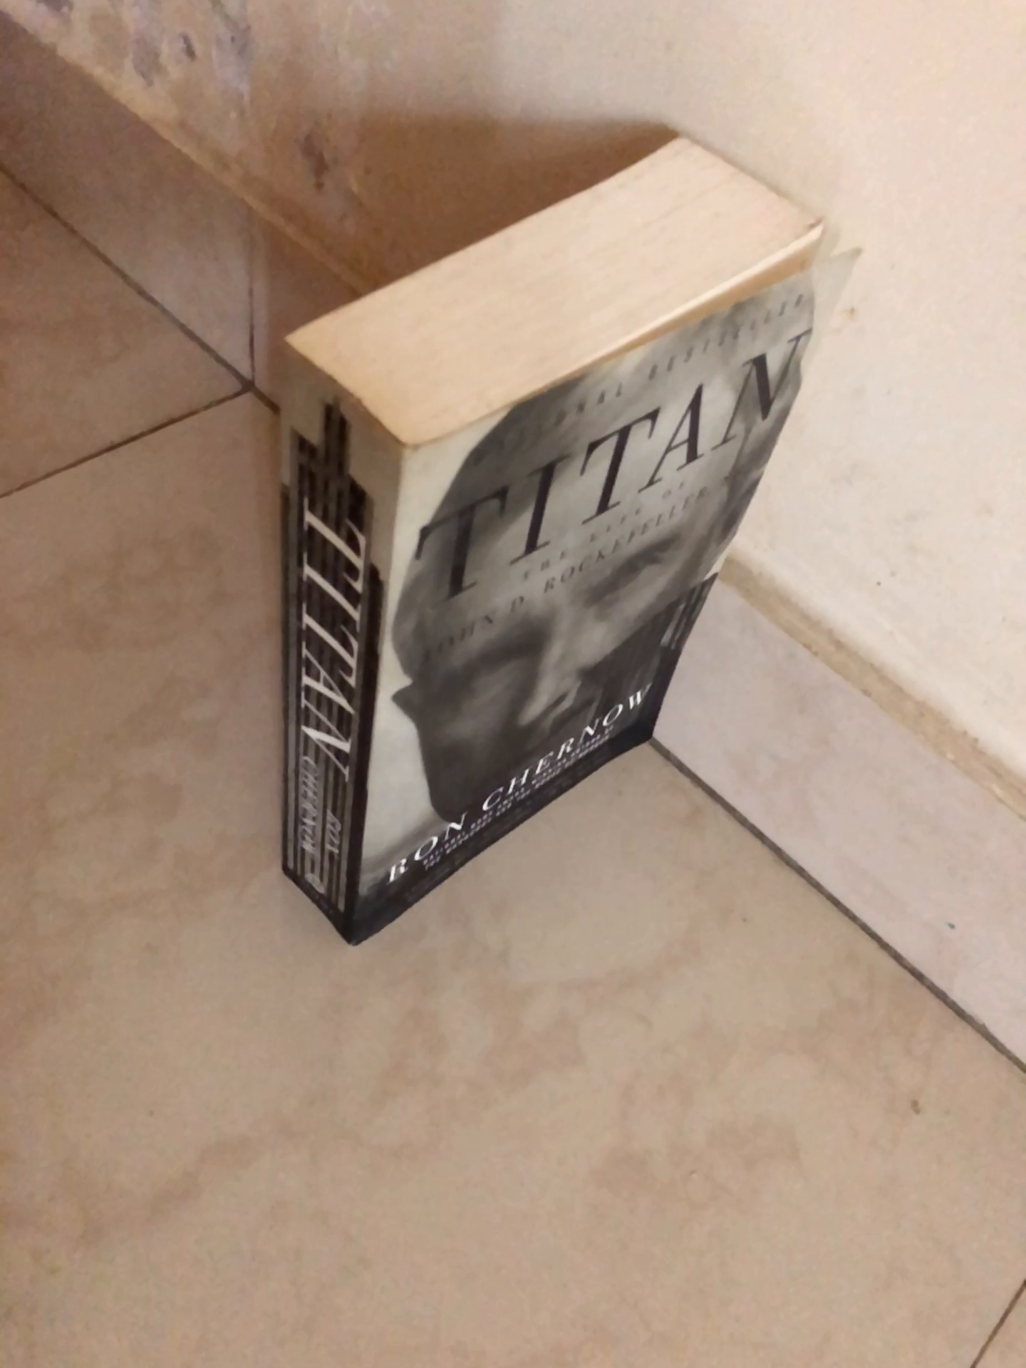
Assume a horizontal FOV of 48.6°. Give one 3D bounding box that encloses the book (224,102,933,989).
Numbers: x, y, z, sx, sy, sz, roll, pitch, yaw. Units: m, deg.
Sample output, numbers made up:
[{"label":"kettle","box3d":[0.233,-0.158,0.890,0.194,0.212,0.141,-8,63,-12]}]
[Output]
[{"label":"book","box3d":[0.011,-0.035,0.365,0.060,0.229,0.201,40,55,19]}]
